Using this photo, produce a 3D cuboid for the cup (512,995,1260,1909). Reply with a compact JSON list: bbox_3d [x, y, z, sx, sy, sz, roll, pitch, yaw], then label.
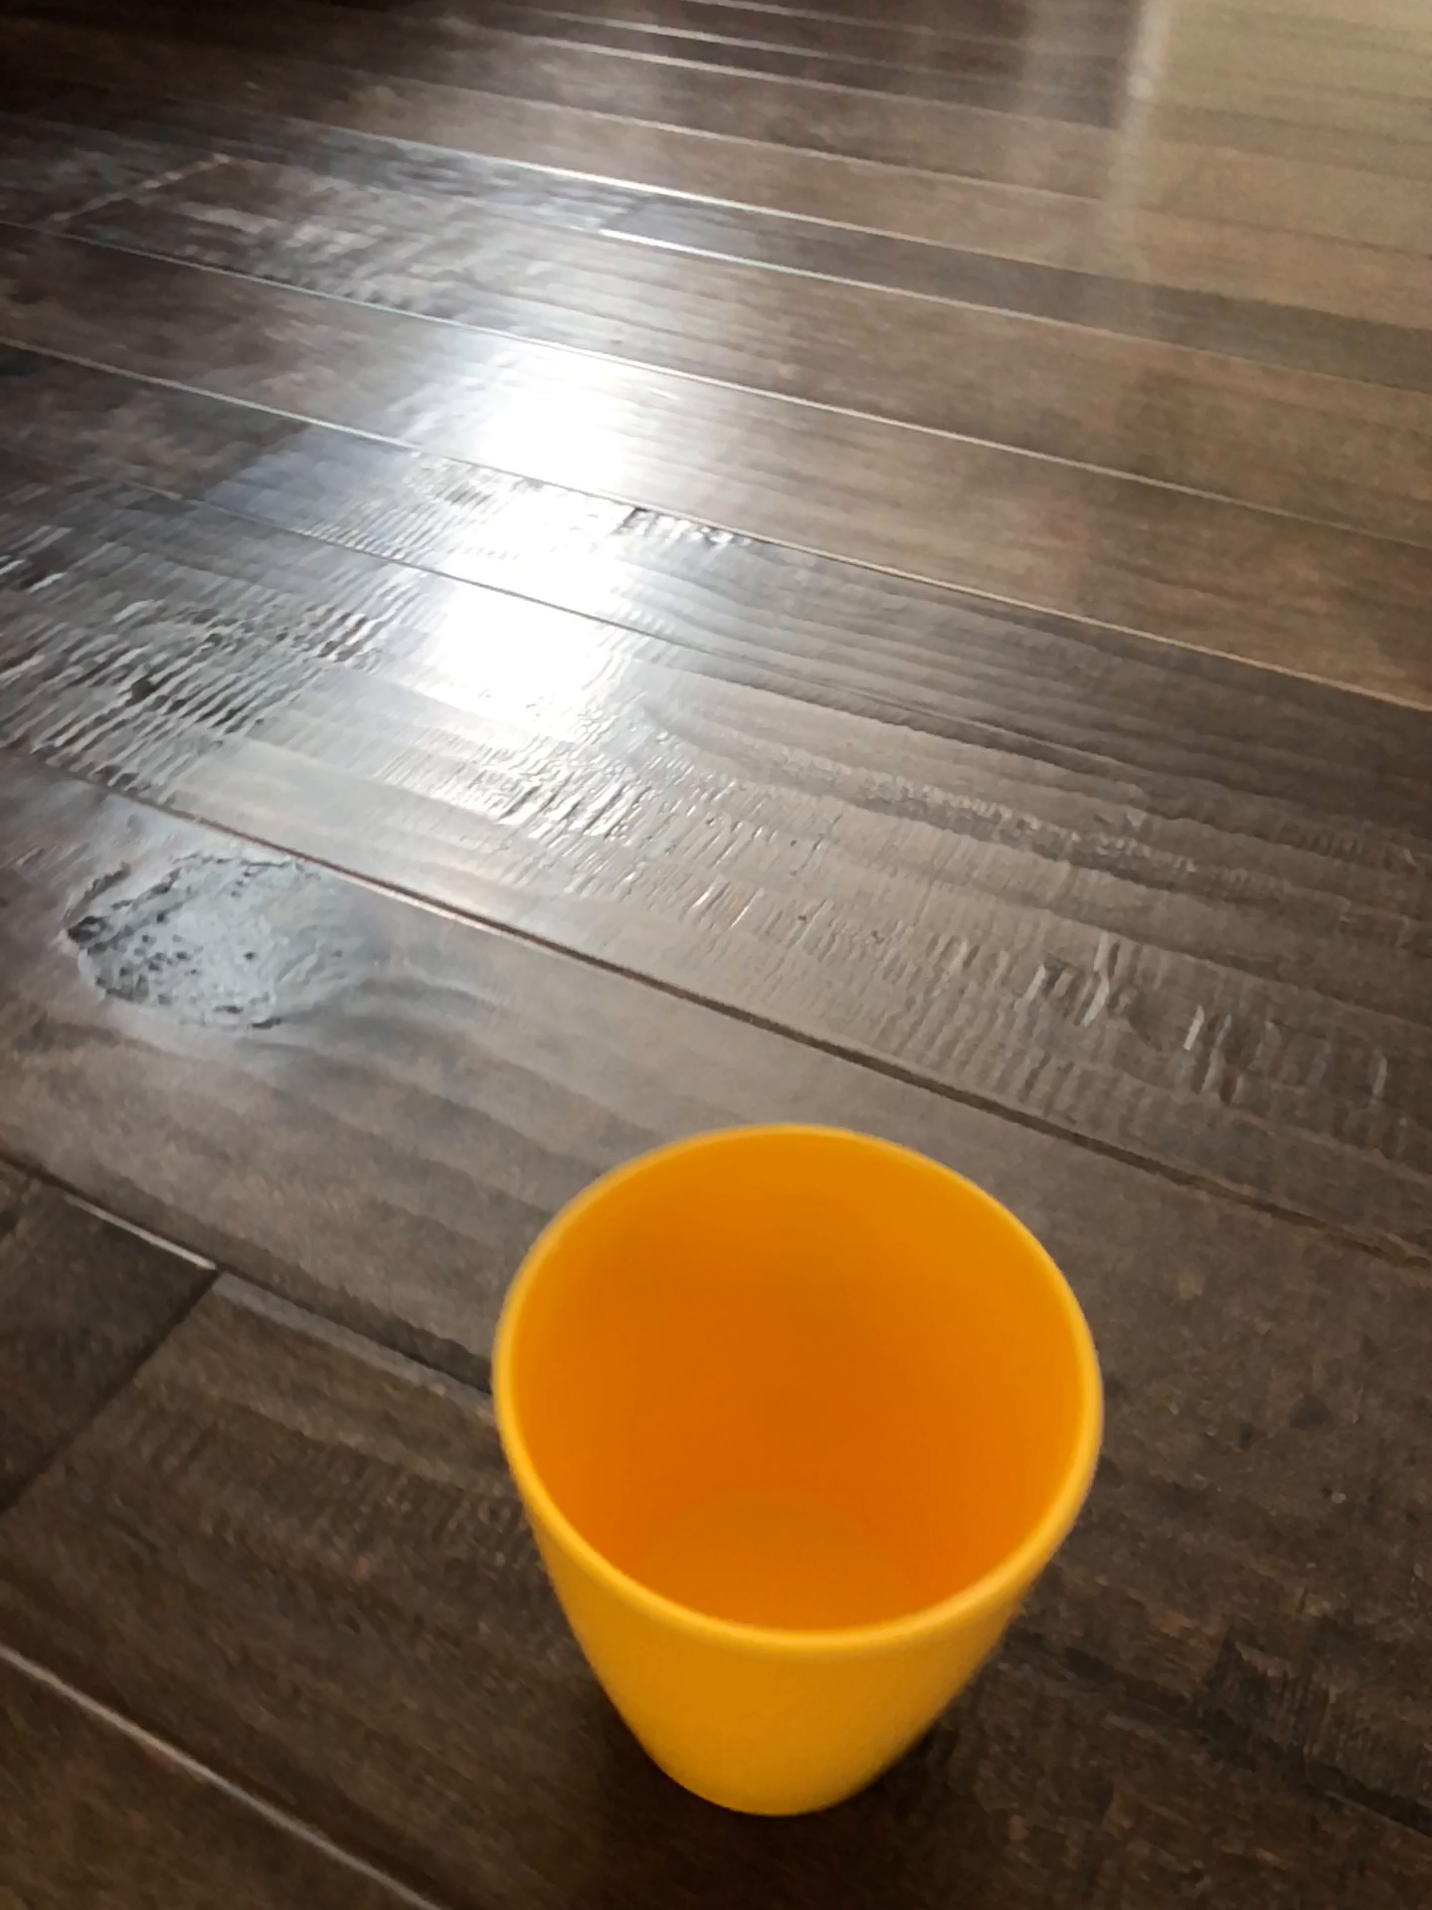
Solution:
[{"bbox_3d":[0.017,0.081,0.264,0.090,0.099,0.111,0,41,-3],"label":"cup"}]
